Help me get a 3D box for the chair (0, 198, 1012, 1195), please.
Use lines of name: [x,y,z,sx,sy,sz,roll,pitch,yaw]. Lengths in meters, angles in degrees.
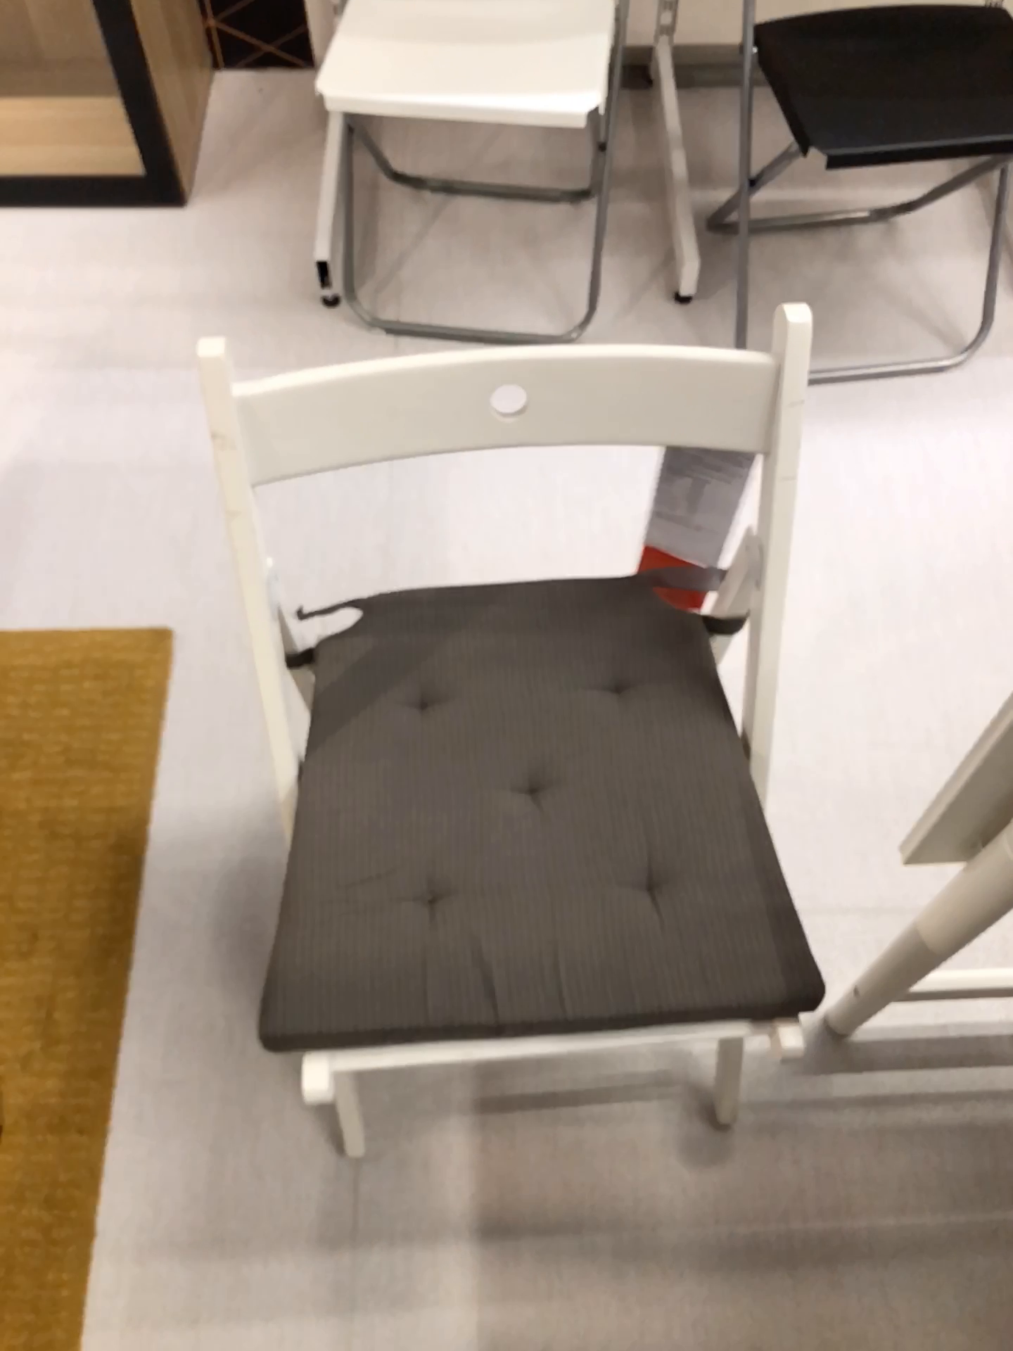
chair: [0.003,0.097,0.855,0.440,0.697,0.452,-3,60,-2]
